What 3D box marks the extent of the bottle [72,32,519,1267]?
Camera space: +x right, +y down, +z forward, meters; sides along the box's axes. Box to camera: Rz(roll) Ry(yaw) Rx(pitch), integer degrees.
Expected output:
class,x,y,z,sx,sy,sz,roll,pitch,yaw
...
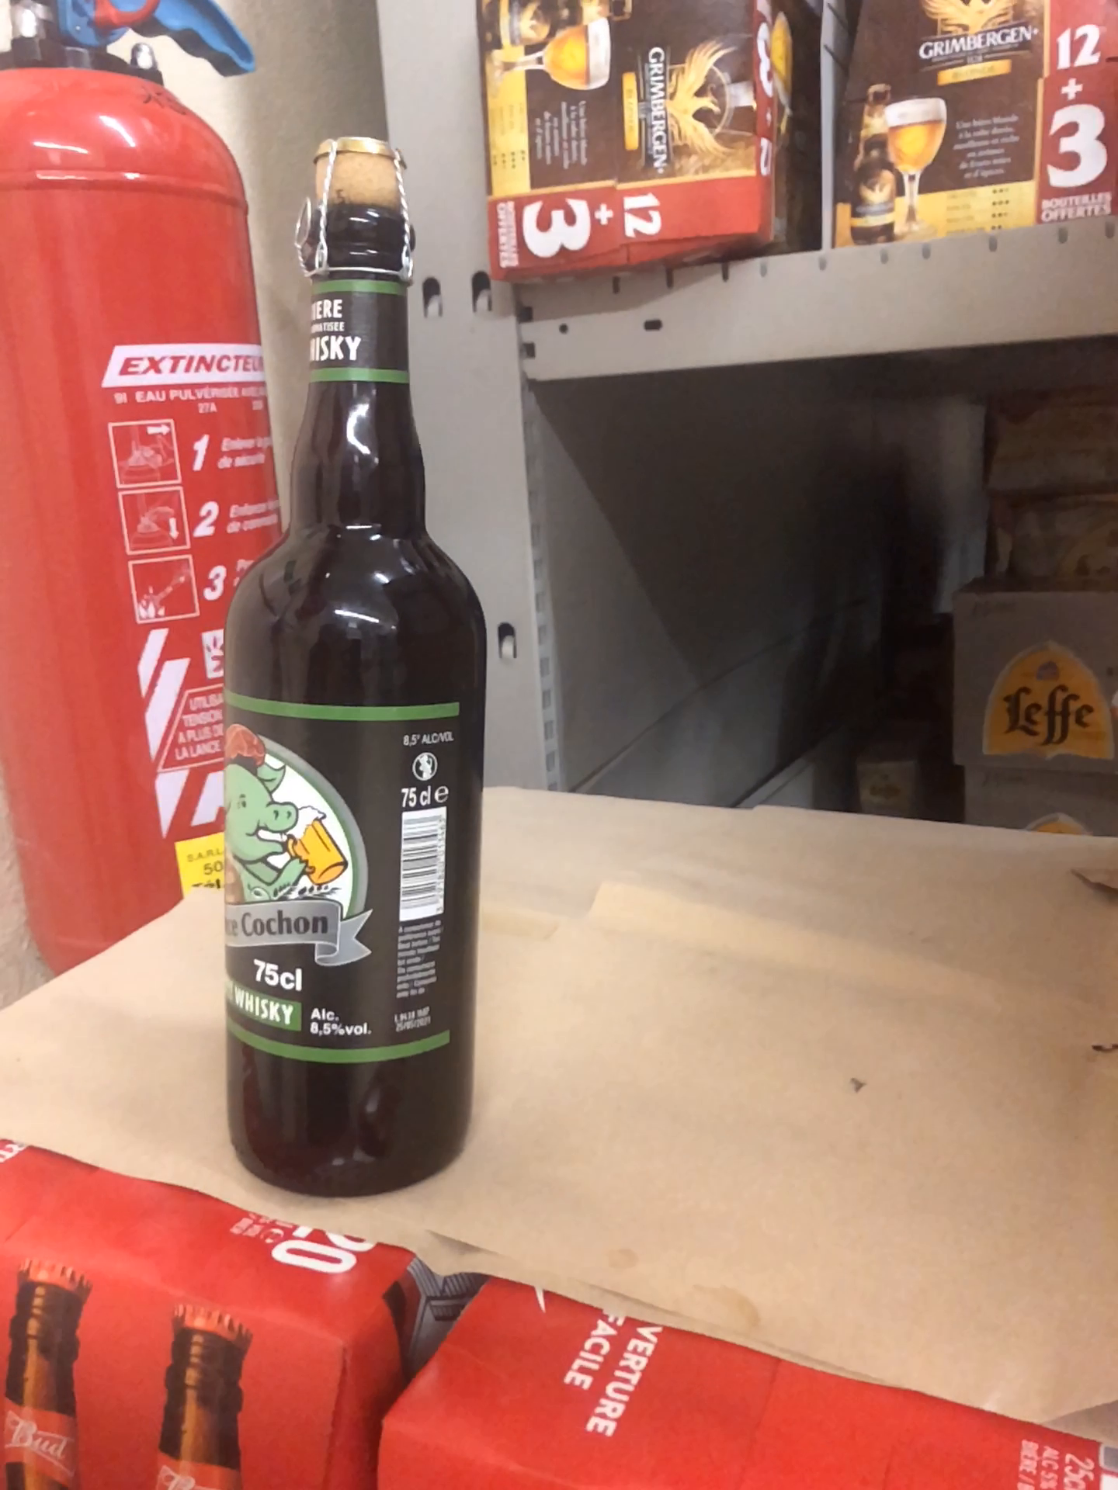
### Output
class,x,y,z,sx,sy,sz,roll,pitch,yaw
bottle,-0.074,-0.022,0.356,0.090,0.299,0.080,6,9,35
